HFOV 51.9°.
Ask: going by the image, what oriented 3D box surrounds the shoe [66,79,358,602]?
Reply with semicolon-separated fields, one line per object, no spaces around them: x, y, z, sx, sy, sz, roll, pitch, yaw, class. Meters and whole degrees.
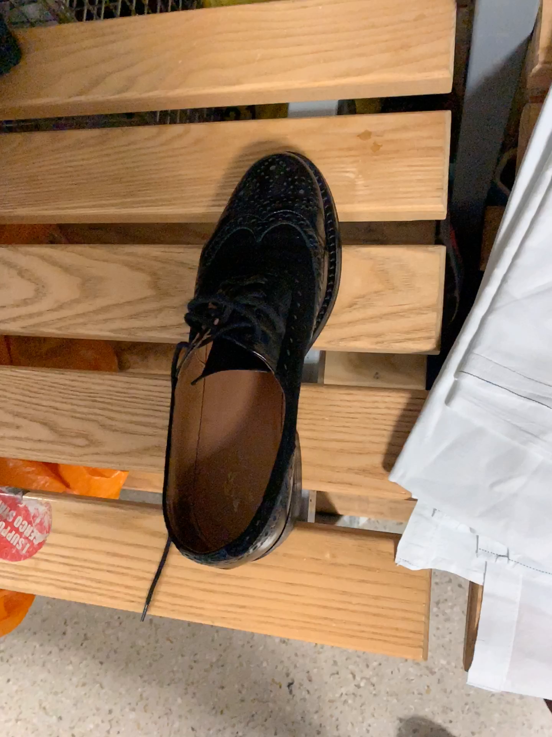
-0.025;-0.019;0.325;0.099;0.095;0.250;8;84;15;shoe
